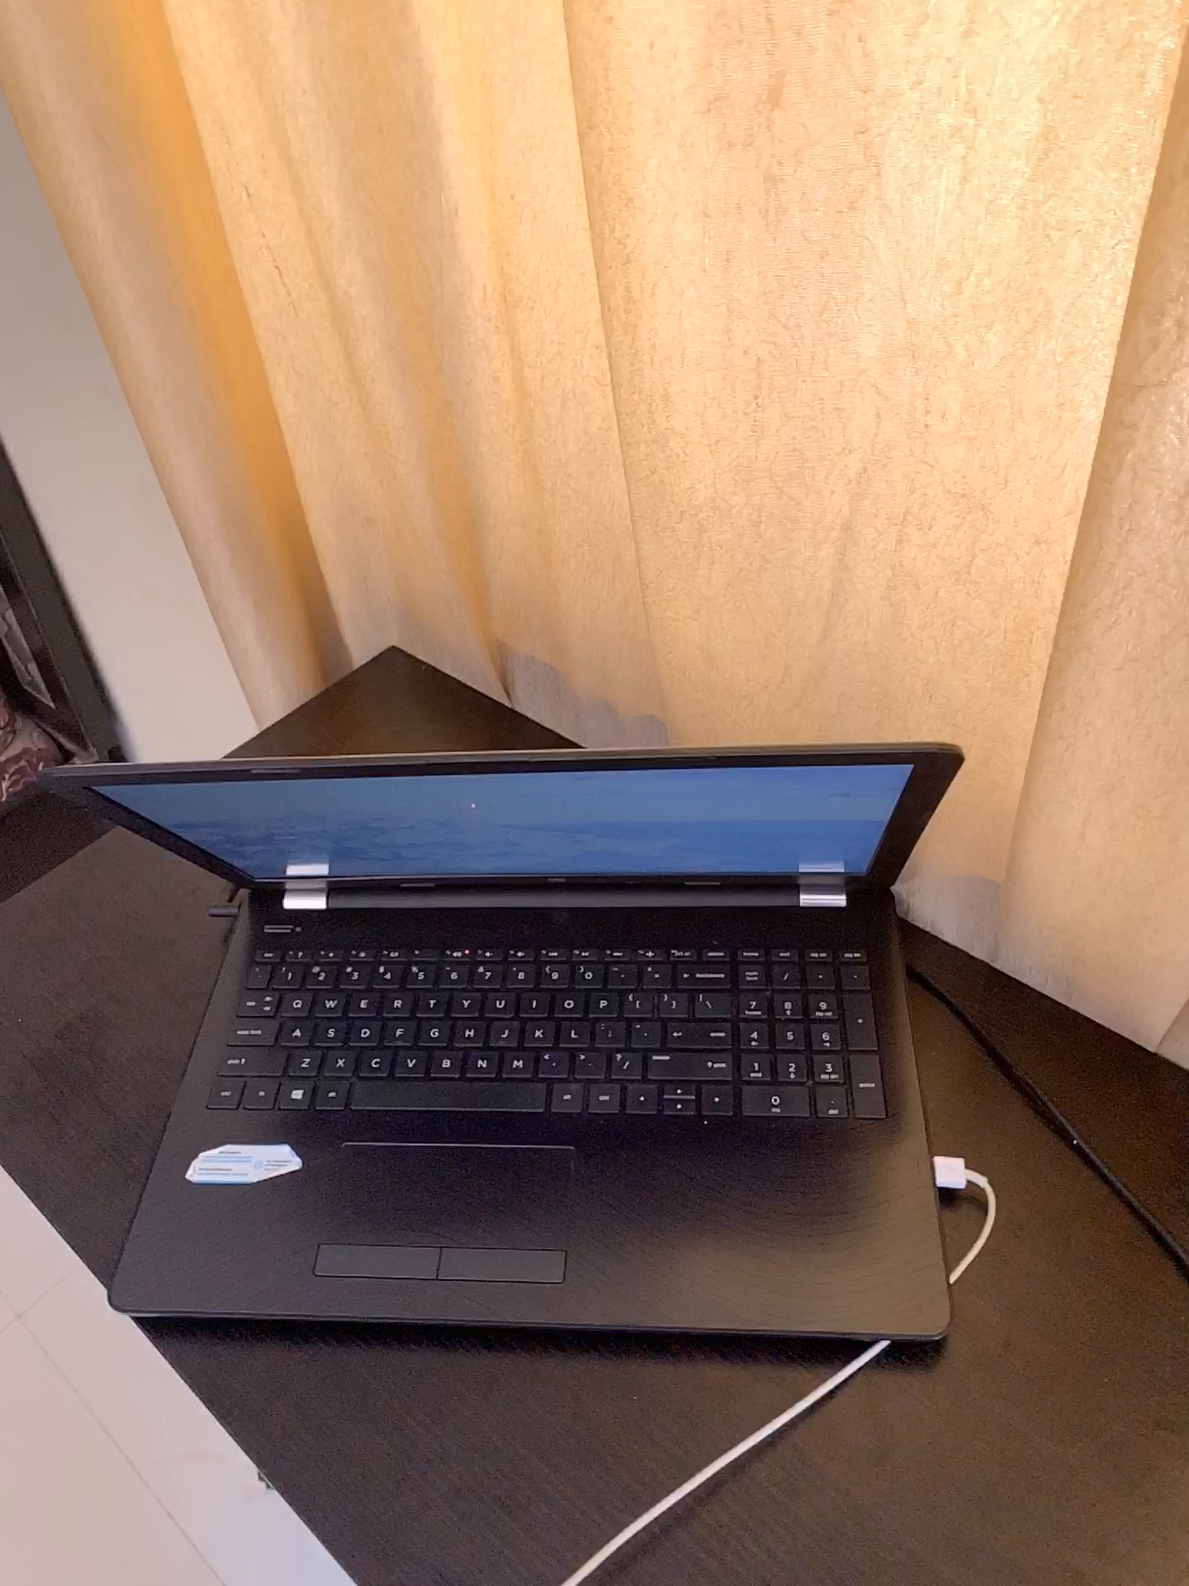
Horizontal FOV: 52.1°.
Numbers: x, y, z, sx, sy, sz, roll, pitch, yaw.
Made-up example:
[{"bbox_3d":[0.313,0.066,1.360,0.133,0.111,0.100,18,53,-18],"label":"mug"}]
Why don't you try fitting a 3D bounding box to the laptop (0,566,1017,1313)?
[{"bbox_3d":[-0.032,0.061,0.550,0.362,0.201,0.239,-1,45,8],"label":"laptop"}]
